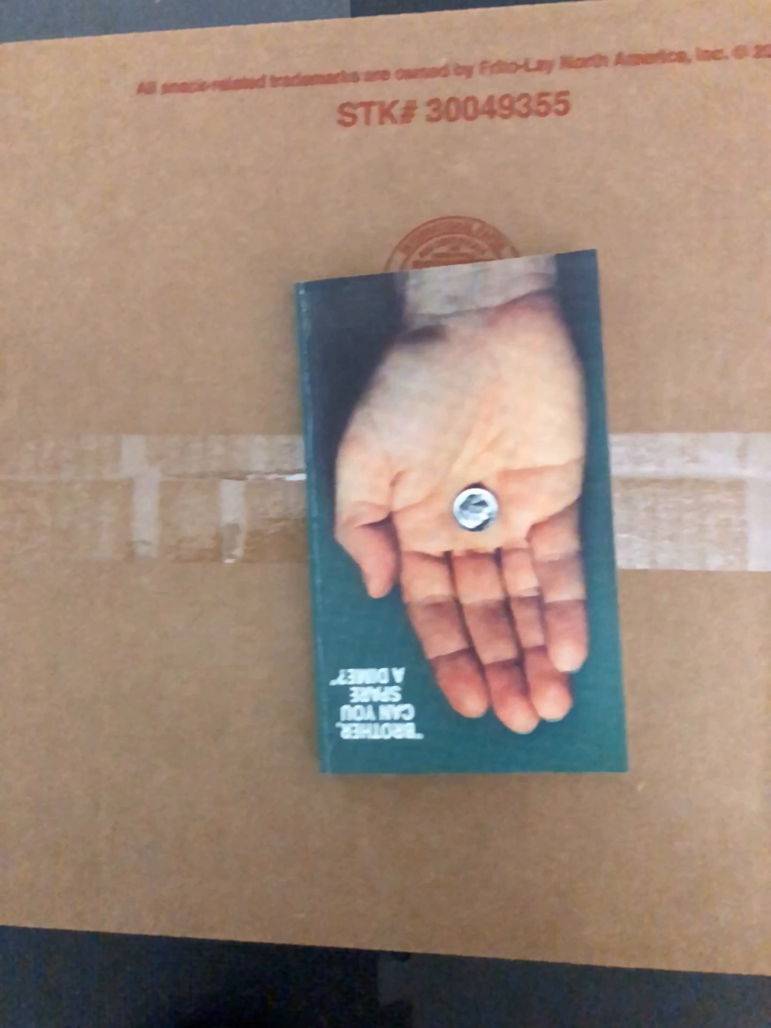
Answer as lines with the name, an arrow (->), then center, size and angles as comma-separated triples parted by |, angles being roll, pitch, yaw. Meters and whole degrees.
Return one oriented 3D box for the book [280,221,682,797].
book -> 0.030, 0.001, 0.287 | 0.120, 0.020, 0.180 | -3, 89, 7
